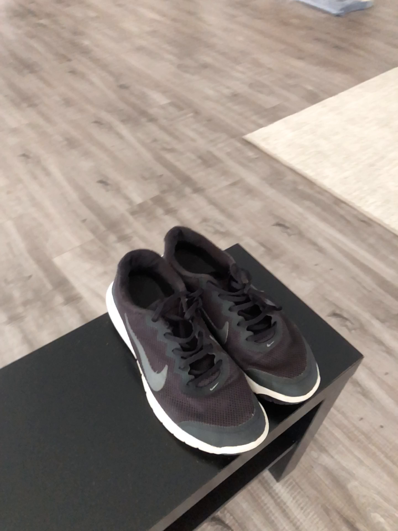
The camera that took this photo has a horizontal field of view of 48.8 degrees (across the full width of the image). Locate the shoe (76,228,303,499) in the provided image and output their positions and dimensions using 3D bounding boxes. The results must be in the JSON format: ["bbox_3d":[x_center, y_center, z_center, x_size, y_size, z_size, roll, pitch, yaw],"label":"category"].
[{"bbox_3d":[-0.026,0.098,0.513,0.110,0.100,0.281,-25,56,-24],"label":"shoe"}]

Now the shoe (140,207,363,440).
[{"bbox_3d":[0.050,0.062,0.575,0.110,0.110,0.281,-29,56,-27],"label":"shoe"}]
